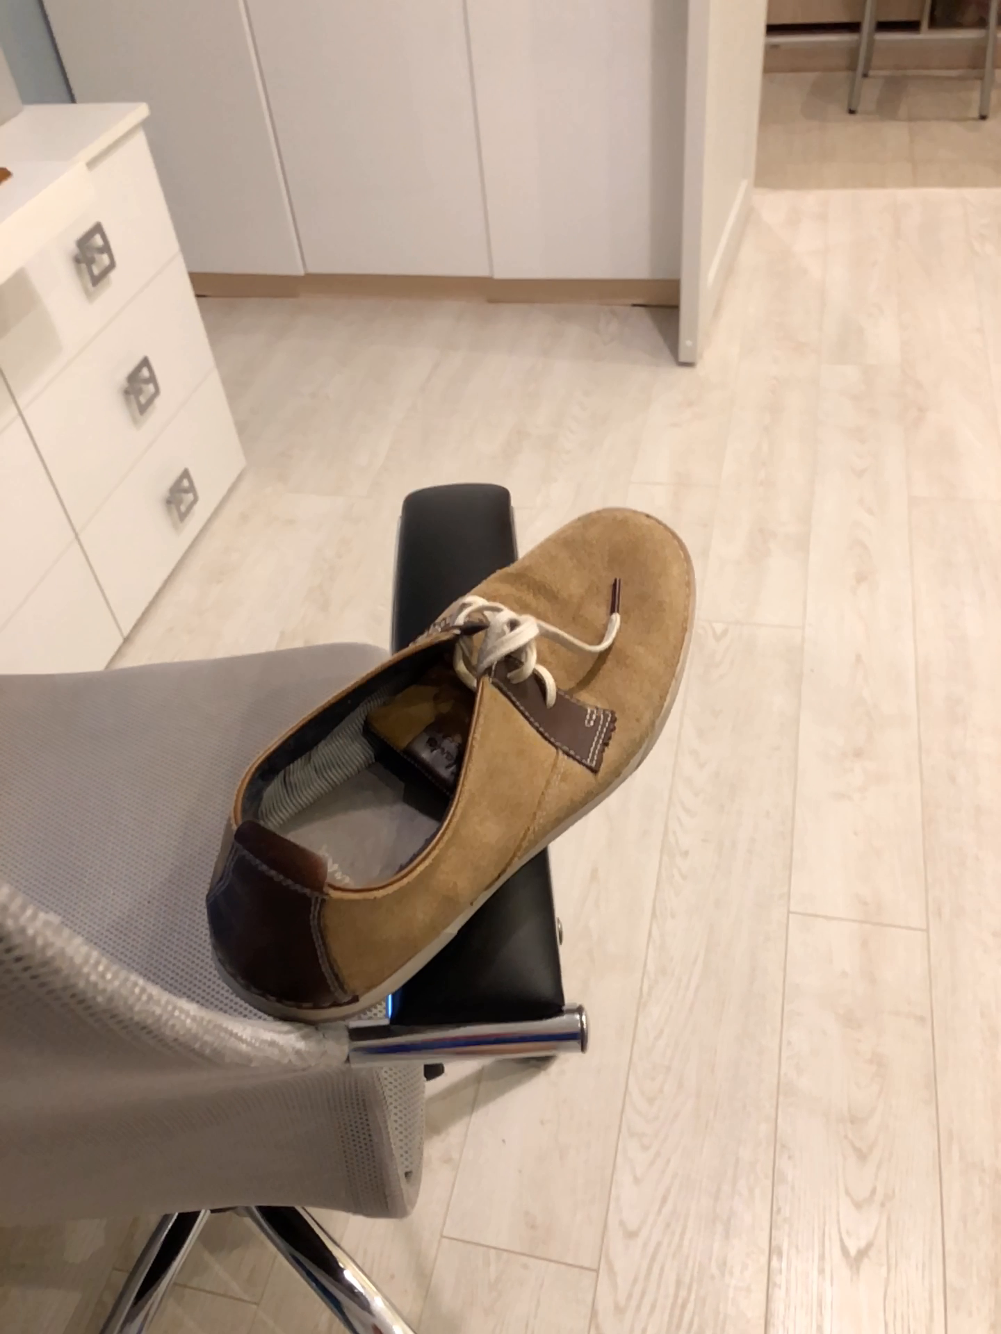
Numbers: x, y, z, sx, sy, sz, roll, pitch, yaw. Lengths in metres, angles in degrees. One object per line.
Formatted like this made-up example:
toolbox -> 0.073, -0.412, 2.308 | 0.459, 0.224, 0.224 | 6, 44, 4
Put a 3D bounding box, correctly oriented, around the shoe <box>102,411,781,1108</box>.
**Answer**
shoe -> -0.002, 0.012, 0.477 | 0.120, 0.079, 0.311 | 22, 51, 27
